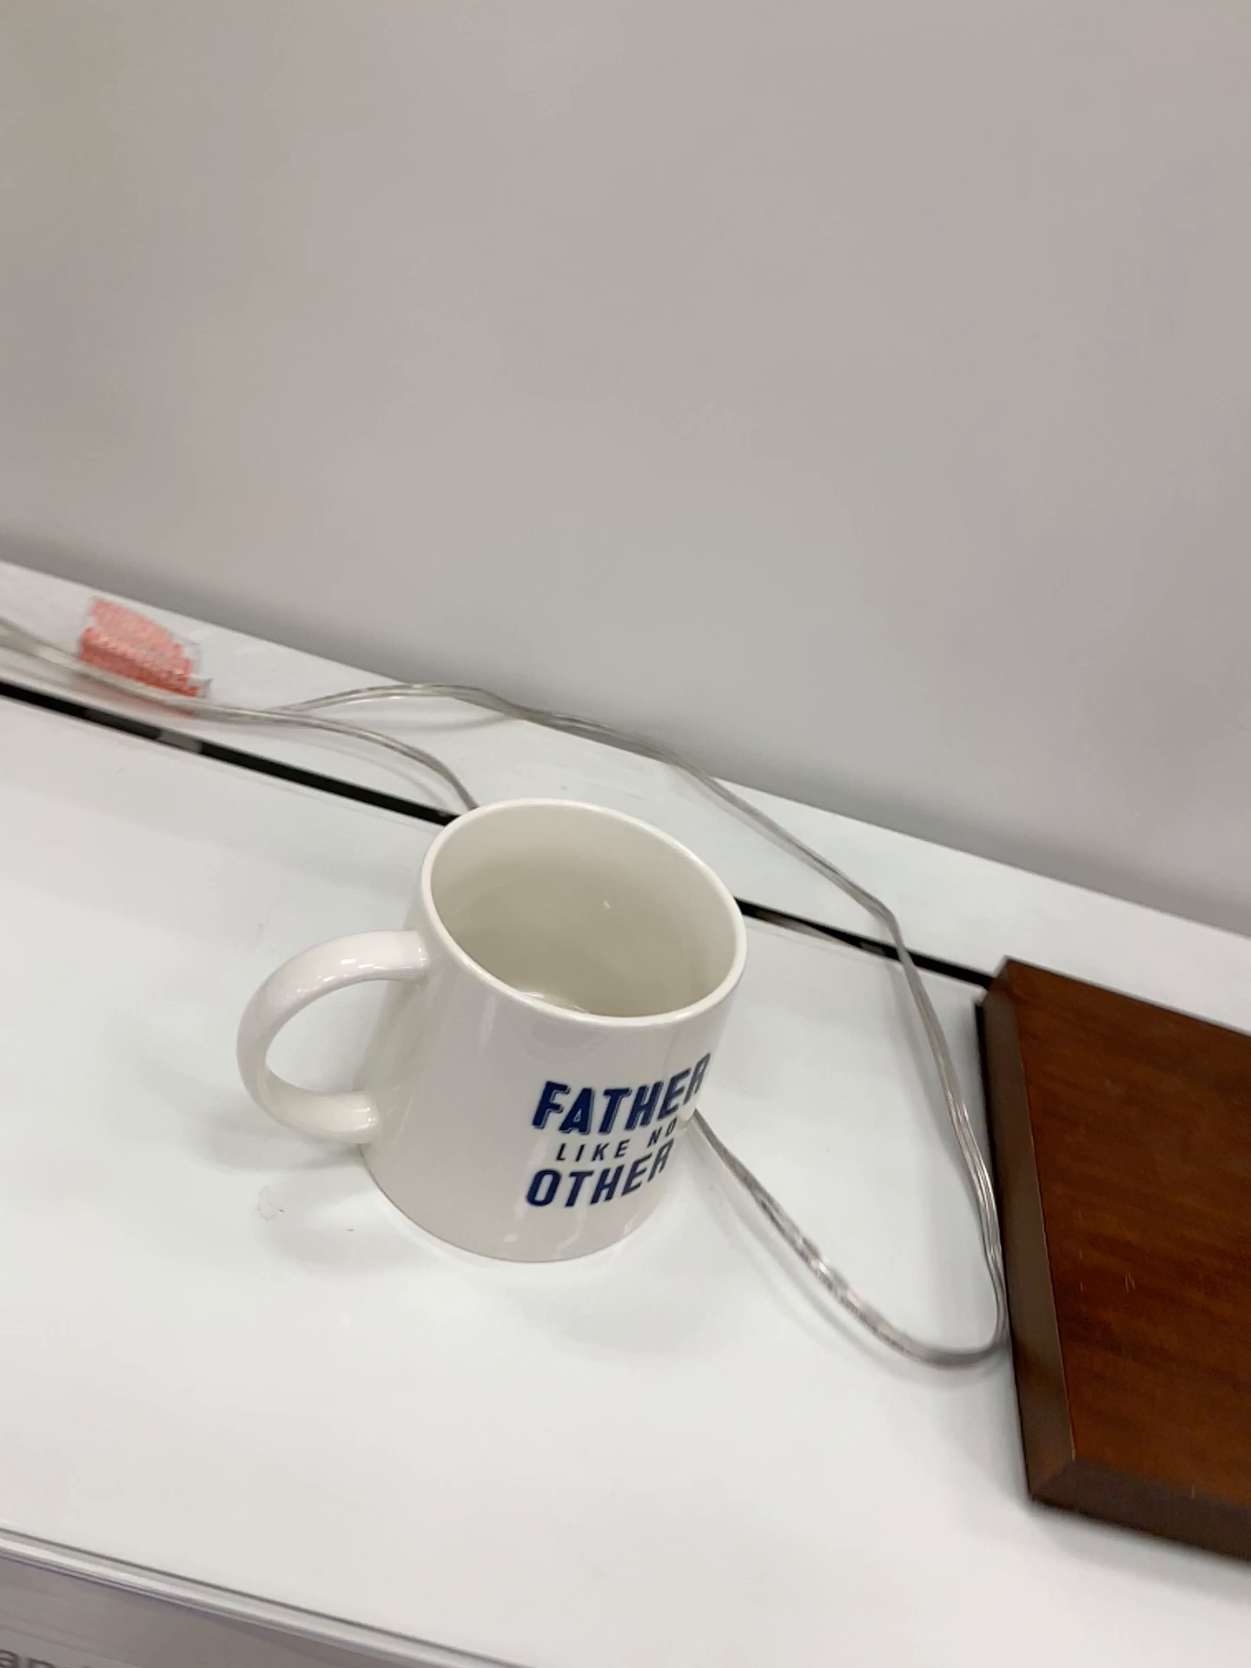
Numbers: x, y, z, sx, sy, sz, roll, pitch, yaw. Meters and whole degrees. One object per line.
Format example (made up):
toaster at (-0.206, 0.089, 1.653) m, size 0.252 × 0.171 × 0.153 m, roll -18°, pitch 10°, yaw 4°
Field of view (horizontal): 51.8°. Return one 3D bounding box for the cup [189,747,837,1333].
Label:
cup at (-0.047, 0.058, 0.422) m, size 0.160 × 0.119 × 0.120 m, roll -4°, pitch 42°, yaw -27°
